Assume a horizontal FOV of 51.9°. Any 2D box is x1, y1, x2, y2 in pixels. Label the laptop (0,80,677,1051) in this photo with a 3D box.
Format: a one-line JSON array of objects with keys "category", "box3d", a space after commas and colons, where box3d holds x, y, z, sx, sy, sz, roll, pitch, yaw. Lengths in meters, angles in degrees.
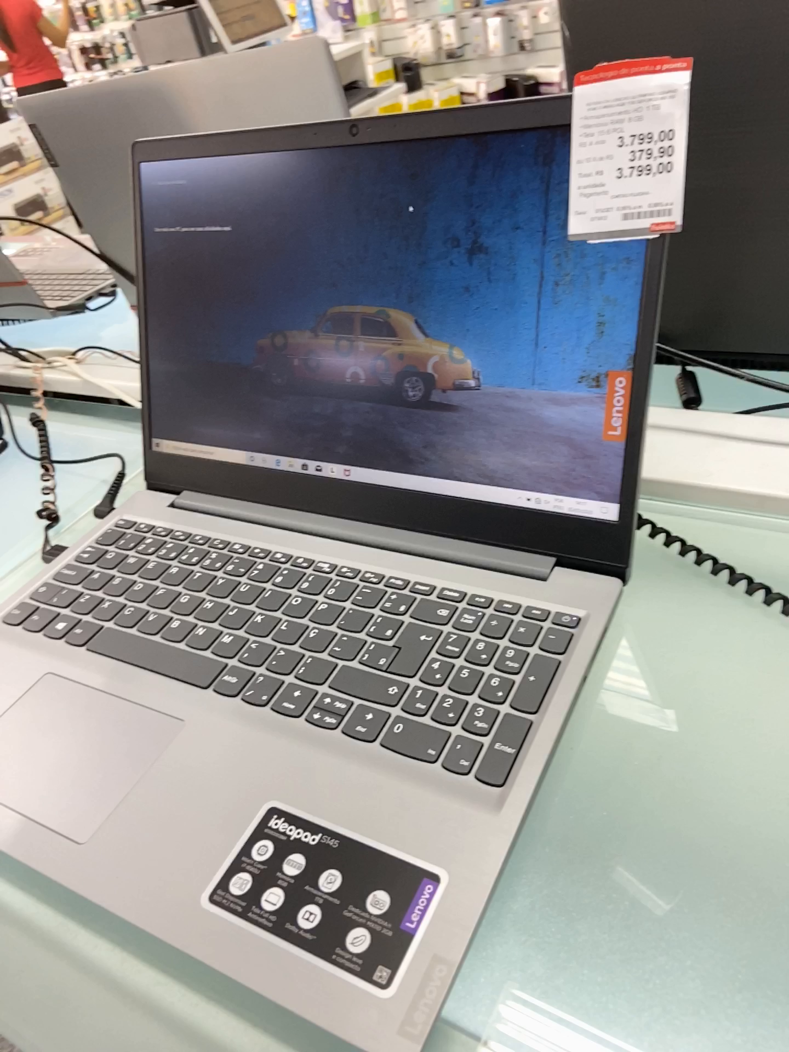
[{"category": "laptop", "box3d": [-0.089, -0.042, 0.412, 0.364, 0.213, 0.361, 10, 42, 30]}]
